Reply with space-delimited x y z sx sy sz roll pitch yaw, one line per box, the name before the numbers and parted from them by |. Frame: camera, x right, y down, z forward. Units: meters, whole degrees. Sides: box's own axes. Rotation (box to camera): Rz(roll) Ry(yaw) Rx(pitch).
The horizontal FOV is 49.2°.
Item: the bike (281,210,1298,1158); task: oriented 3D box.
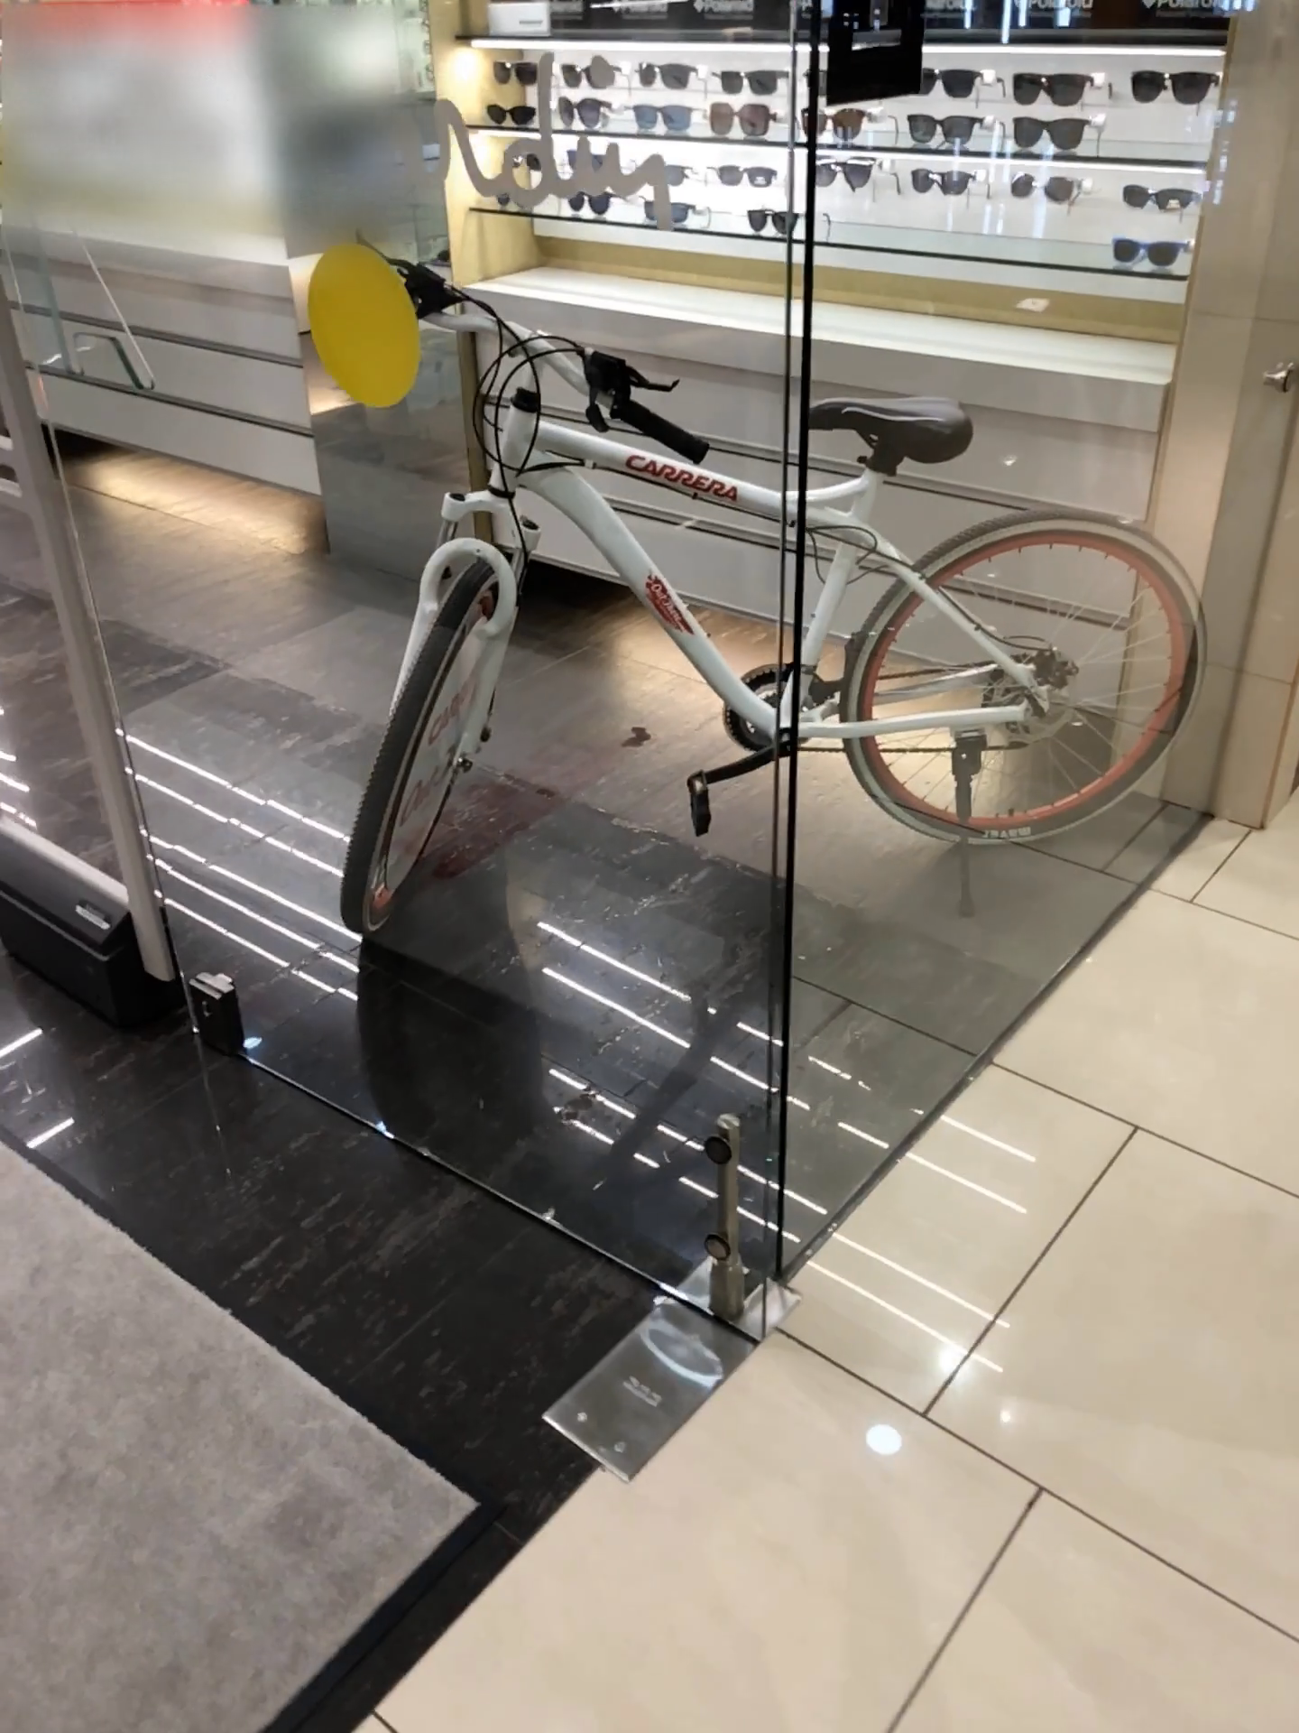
bike | 0.222 -0.331 2.145 1.382 0.947 0.594 -14 33 -14
